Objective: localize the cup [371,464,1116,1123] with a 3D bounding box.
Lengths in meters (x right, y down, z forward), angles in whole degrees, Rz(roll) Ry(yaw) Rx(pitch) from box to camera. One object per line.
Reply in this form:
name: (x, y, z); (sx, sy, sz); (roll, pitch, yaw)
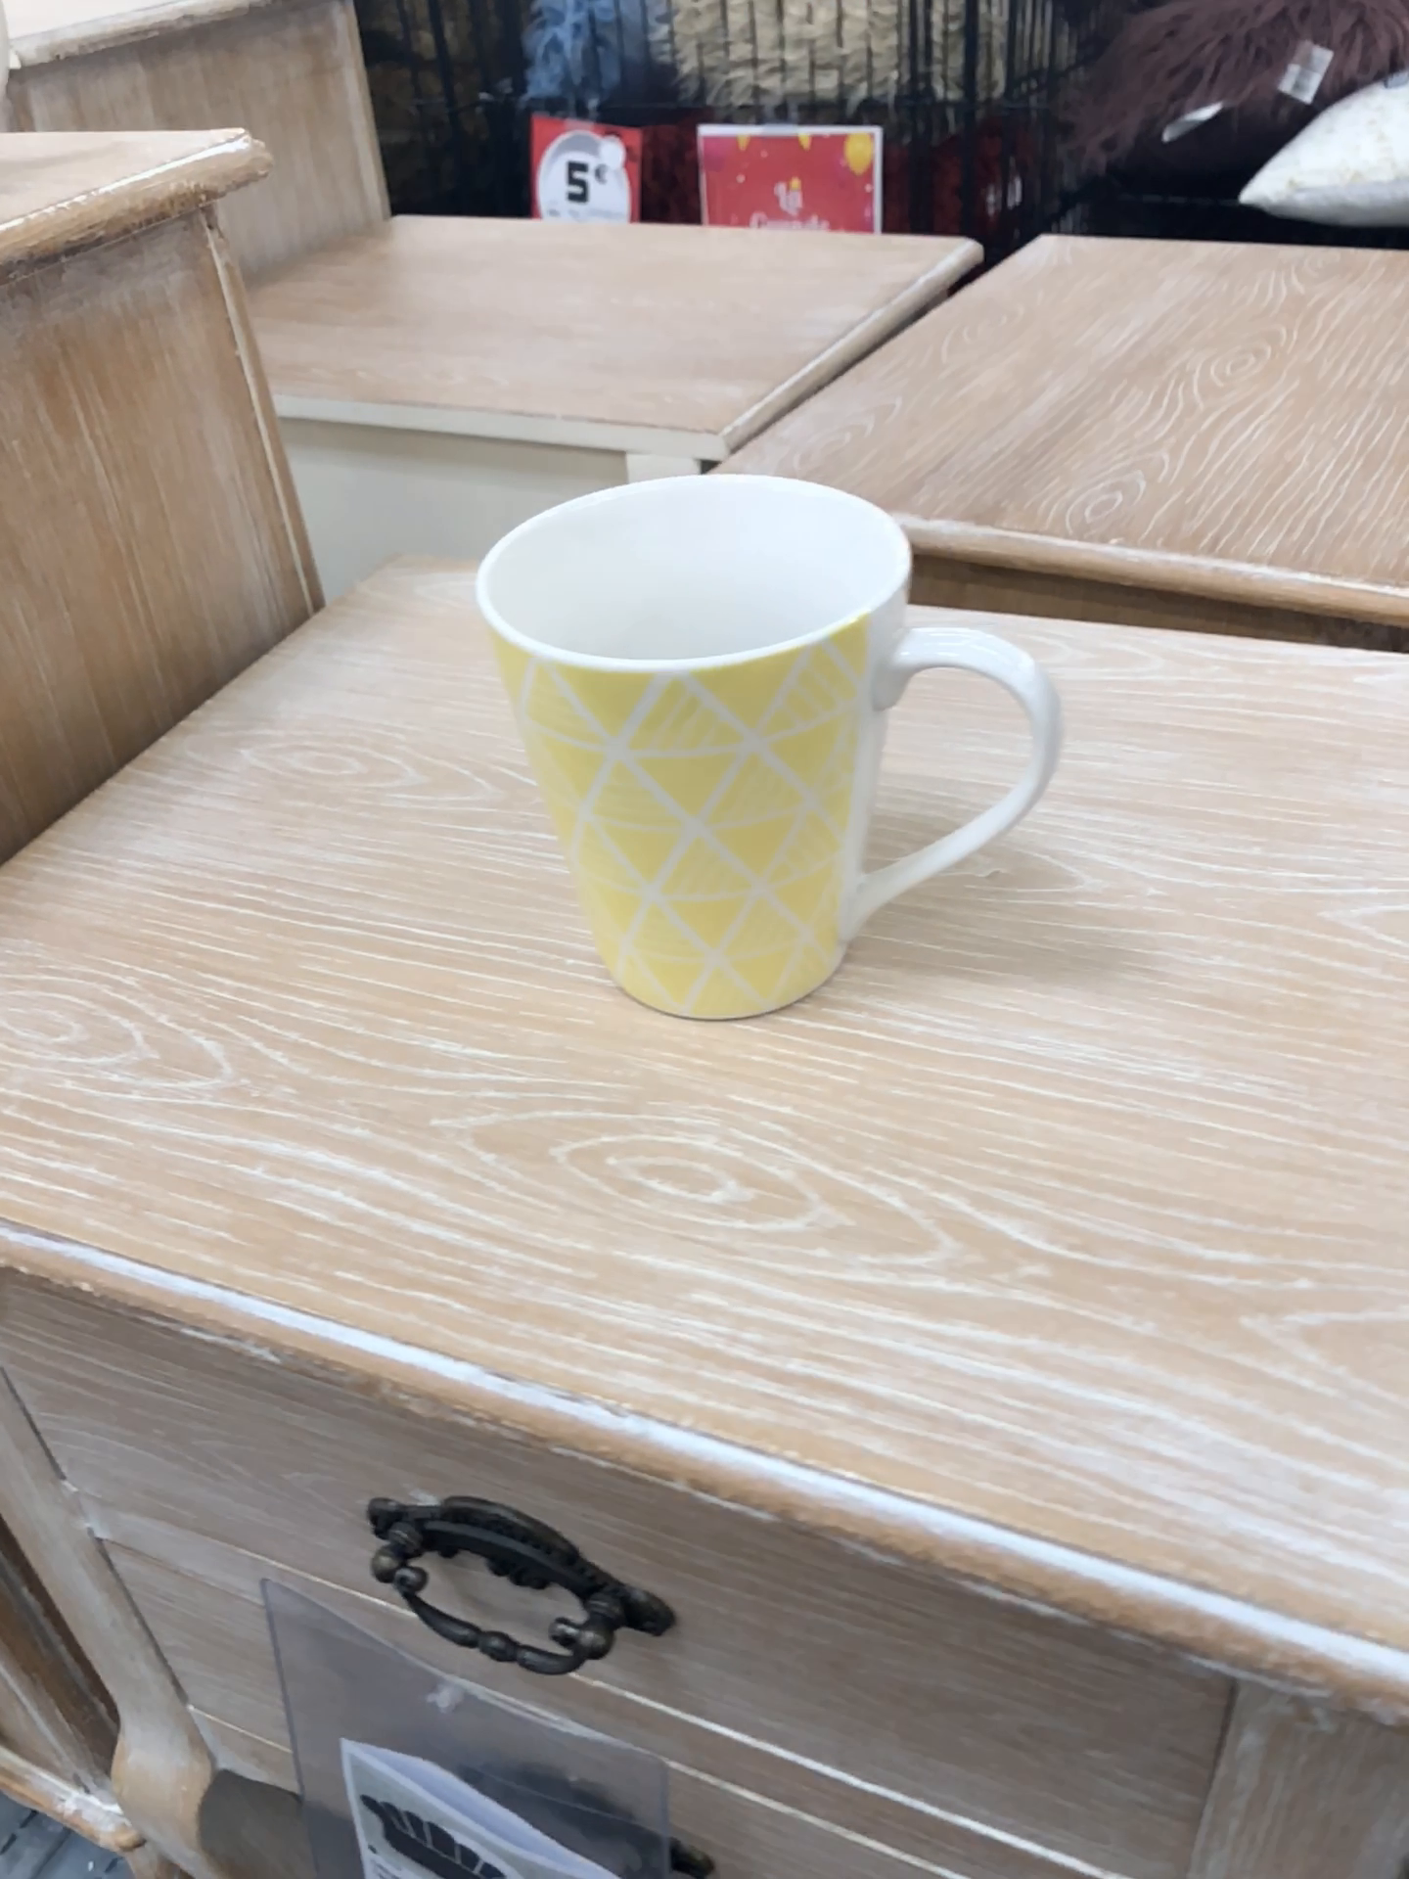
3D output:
cup: (0.016, -0.038, 0.340); (0.125, 0.090, 0.103); (8, 39, 18)
